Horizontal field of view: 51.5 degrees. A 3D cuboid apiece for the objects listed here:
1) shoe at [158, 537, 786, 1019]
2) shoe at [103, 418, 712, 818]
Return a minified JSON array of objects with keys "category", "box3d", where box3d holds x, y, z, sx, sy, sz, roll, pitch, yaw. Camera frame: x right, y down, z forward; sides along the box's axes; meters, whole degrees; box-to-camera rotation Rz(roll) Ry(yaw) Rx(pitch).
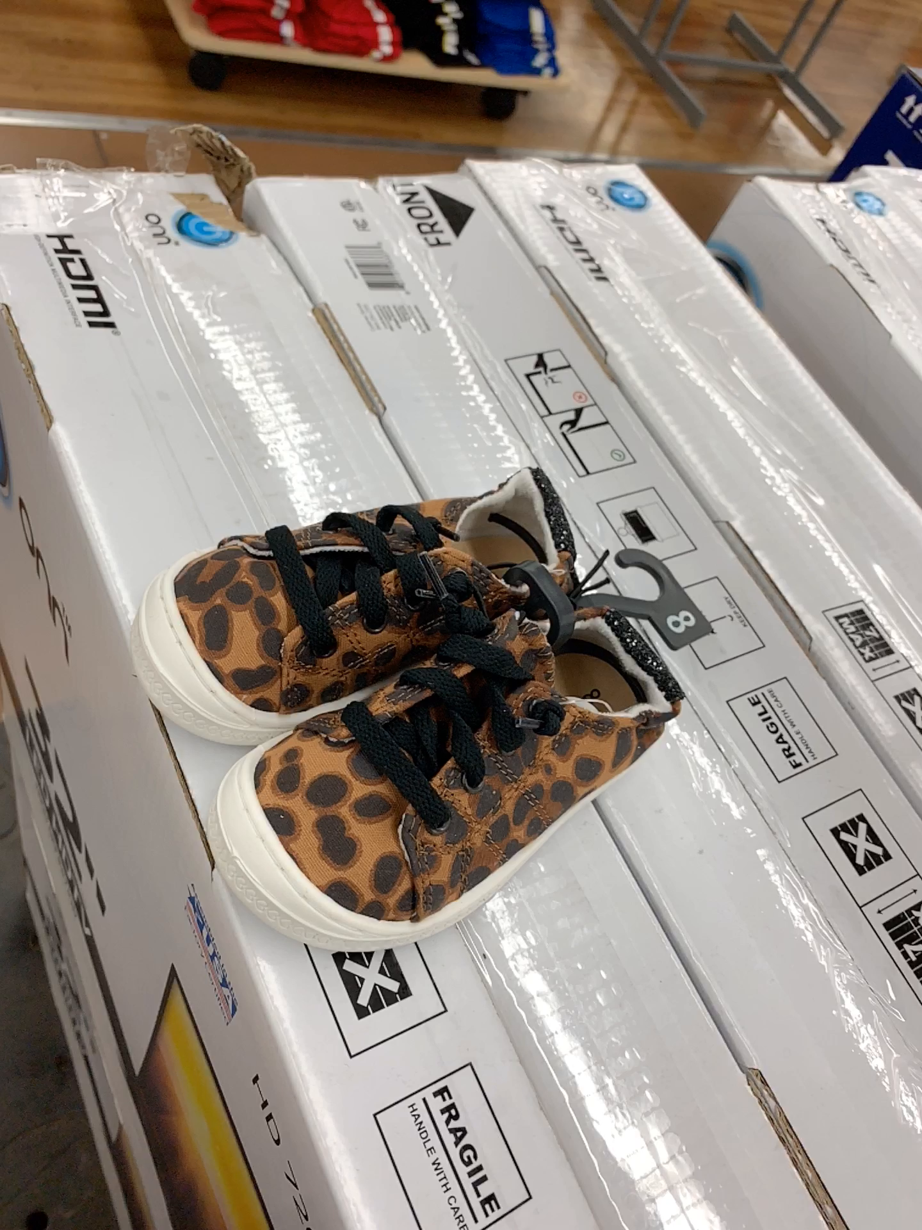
[{"category":"shoe","box3d":[0.008,0.038,0.288,0.170,0.040,0.080,-18,65,-32]},{"category":"shoe","box3d":[-0.013,-0.008,0.301,0.170,0.040,0.080,-16,64,-31]}]
